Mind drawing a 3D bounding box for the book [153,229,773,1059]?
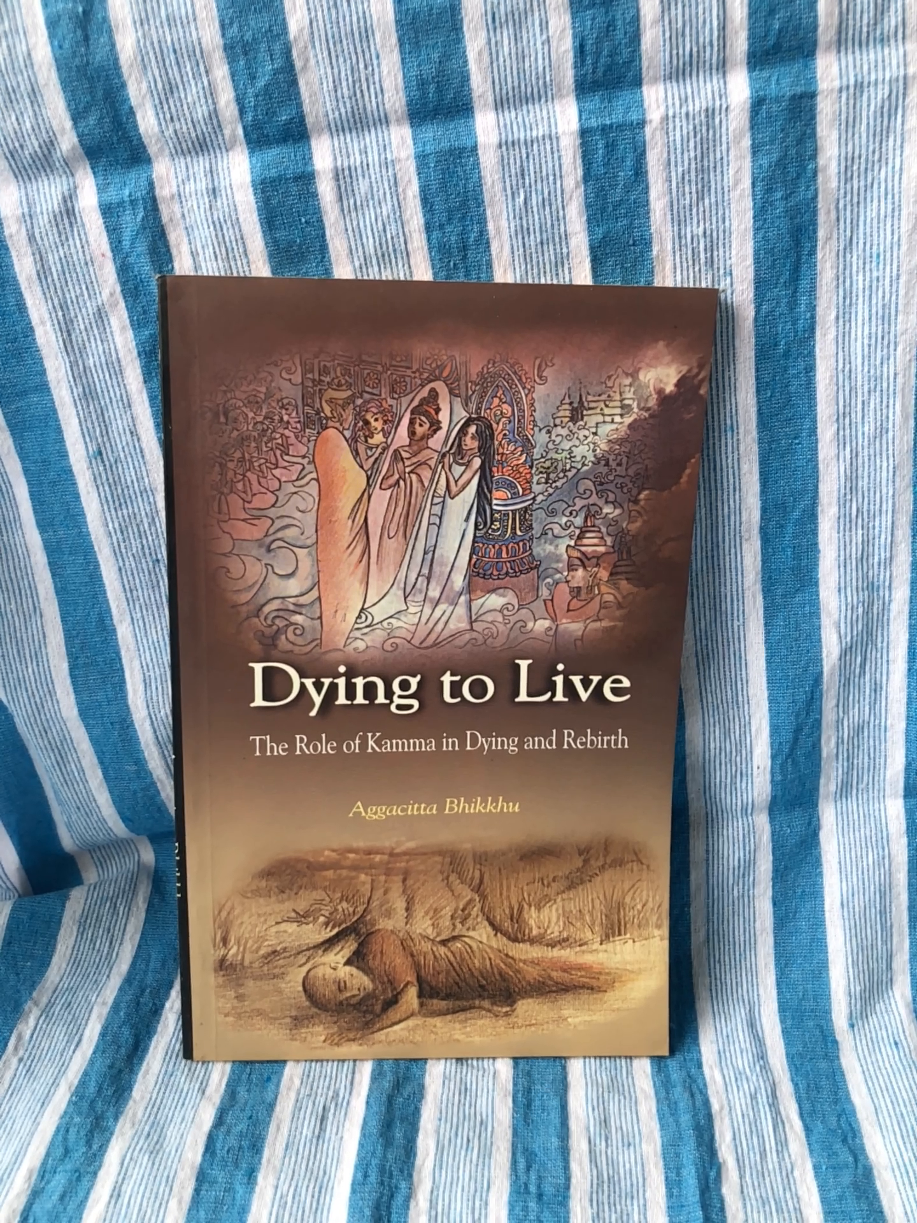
[{"bbox_3d":[-0.001,0.014,0.272,0.150,0.210,0.020,2,6,-6],"label":"book"}]
